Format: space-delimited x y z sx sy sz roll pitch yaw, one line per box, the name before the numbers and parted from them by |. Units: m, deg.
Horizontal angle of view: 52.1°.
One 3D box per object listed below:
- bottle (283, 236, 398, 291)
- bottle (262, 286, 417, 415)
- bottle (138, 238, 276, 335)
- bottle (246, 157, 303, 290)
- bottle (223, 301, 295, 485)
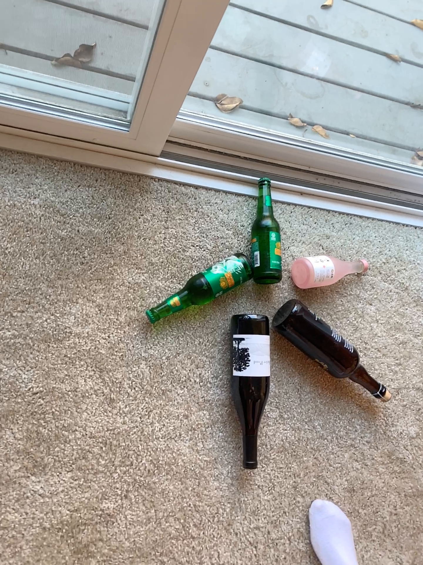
bottle | 0.275 -0.040 0.927 0.210 0.090 0.080 -7 81 -18
bottle | 0.260 0.143 0.890 0.310 0.090 0.080 39 69 -5
bottle | -0.007 0.007 0.816 0.240 0.090 0.070 -27 89 -24
bottle | 0.127 -0.117 0.896 0.080 0.090 0.250 3 80 -18
bottle | 0.083 0.196 0.808 0.080 0.090 0.310 2 76 -19
